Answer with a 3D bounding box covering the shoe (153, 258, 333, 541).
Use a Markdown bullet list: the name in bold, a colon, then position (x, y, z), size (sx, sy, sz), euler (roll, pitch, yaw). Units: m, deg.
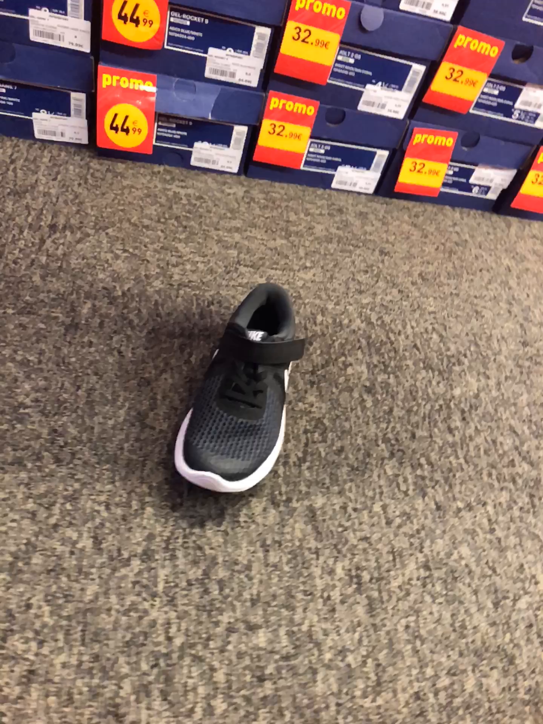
- **shoe**: position (-0.016, 0.021, 0.498), size (0.090, 0.079, 0.219), euler (17, 46, -2)
